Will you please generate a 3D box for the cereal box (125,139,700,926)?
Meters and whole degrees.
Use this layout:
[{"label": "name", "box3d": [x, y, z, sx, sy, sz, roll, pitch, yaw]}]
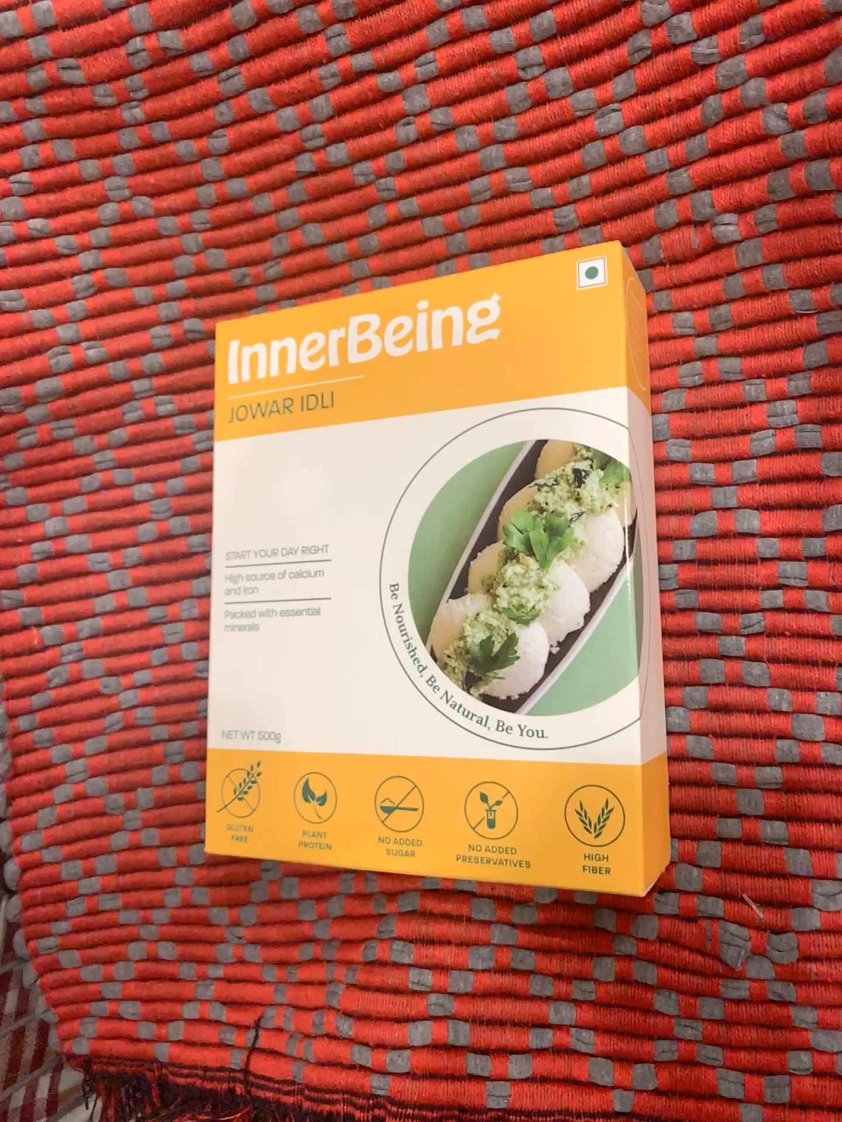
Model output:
[{"label": "cereal box", "box3d": [-0.001, -0.004, 0.266, 0.150, 0.070, 0.190, -4, 80, 21]}]
